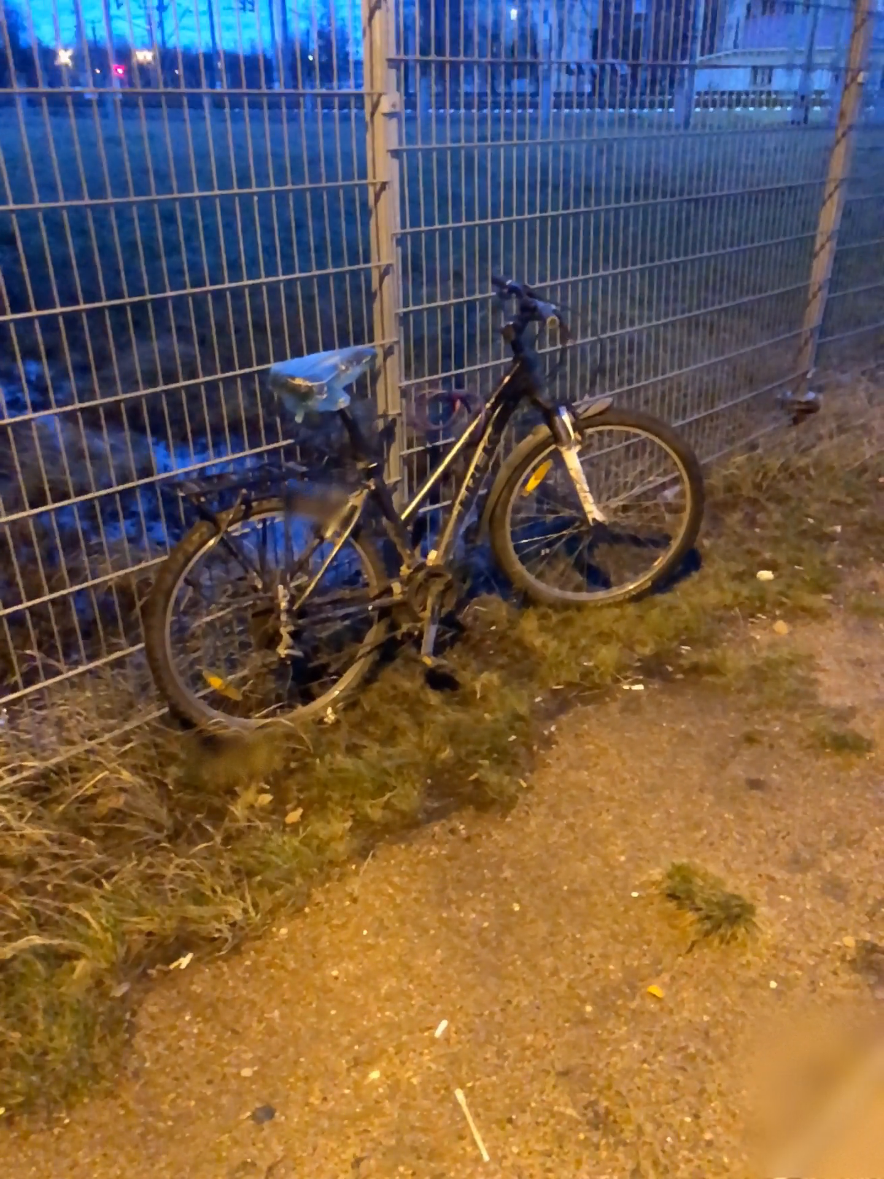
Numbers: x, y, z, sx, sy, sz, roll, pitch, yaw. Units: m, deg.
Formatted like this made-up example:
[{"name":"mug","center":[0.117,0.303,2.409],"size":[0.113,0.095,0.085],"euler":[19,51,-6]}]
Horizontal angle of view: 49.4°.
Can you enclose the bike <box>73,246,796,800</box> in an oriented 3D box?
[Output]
[{"name":"bike","center":[0.017,-0.262,2.484],"size":[1.585,0.947,0.572],"euler":[-16,30,-23]}]
